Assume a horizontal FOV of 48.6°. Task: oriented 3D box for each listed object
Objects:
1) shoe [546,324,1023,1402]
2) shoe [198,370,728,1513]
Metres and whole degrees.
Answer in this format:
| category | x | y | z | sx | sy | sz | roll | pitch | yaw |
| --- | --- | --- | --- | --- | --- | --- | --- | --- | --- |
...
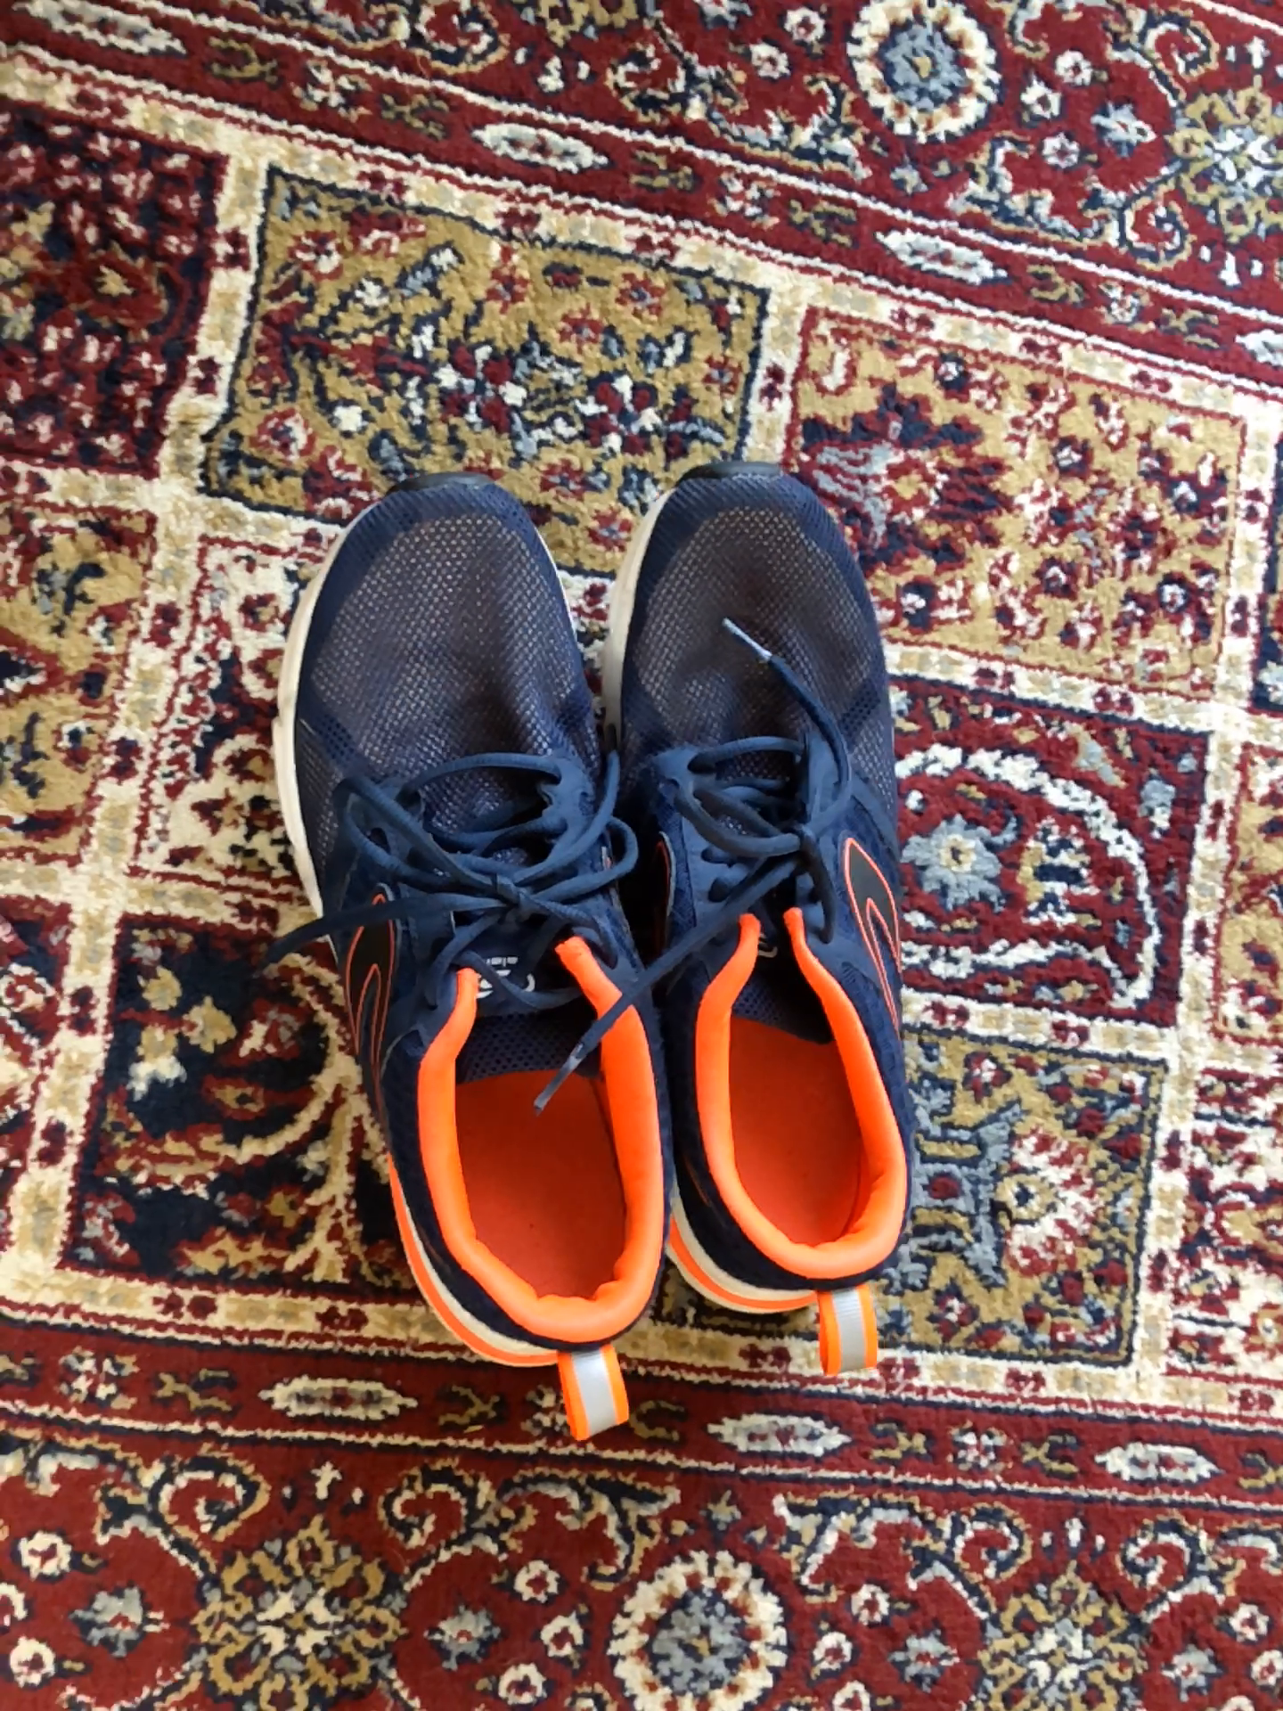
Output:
| category | x | y | z | sx | sy | sz | roll | pitch | yaw |
| --- | --- | --- | --- | --- | --- | --- | --- | --- | --- |
| shoe | 0.041 | 0.000 | 0.509 | 0.120 | 0.130 | 0.330 | -3 | 87 | -10 |
| shoe | -0.064 | 0.023 | 0.491 | 0.120 | 0.130 | 0.330 | -7 | 88 | -10 |
